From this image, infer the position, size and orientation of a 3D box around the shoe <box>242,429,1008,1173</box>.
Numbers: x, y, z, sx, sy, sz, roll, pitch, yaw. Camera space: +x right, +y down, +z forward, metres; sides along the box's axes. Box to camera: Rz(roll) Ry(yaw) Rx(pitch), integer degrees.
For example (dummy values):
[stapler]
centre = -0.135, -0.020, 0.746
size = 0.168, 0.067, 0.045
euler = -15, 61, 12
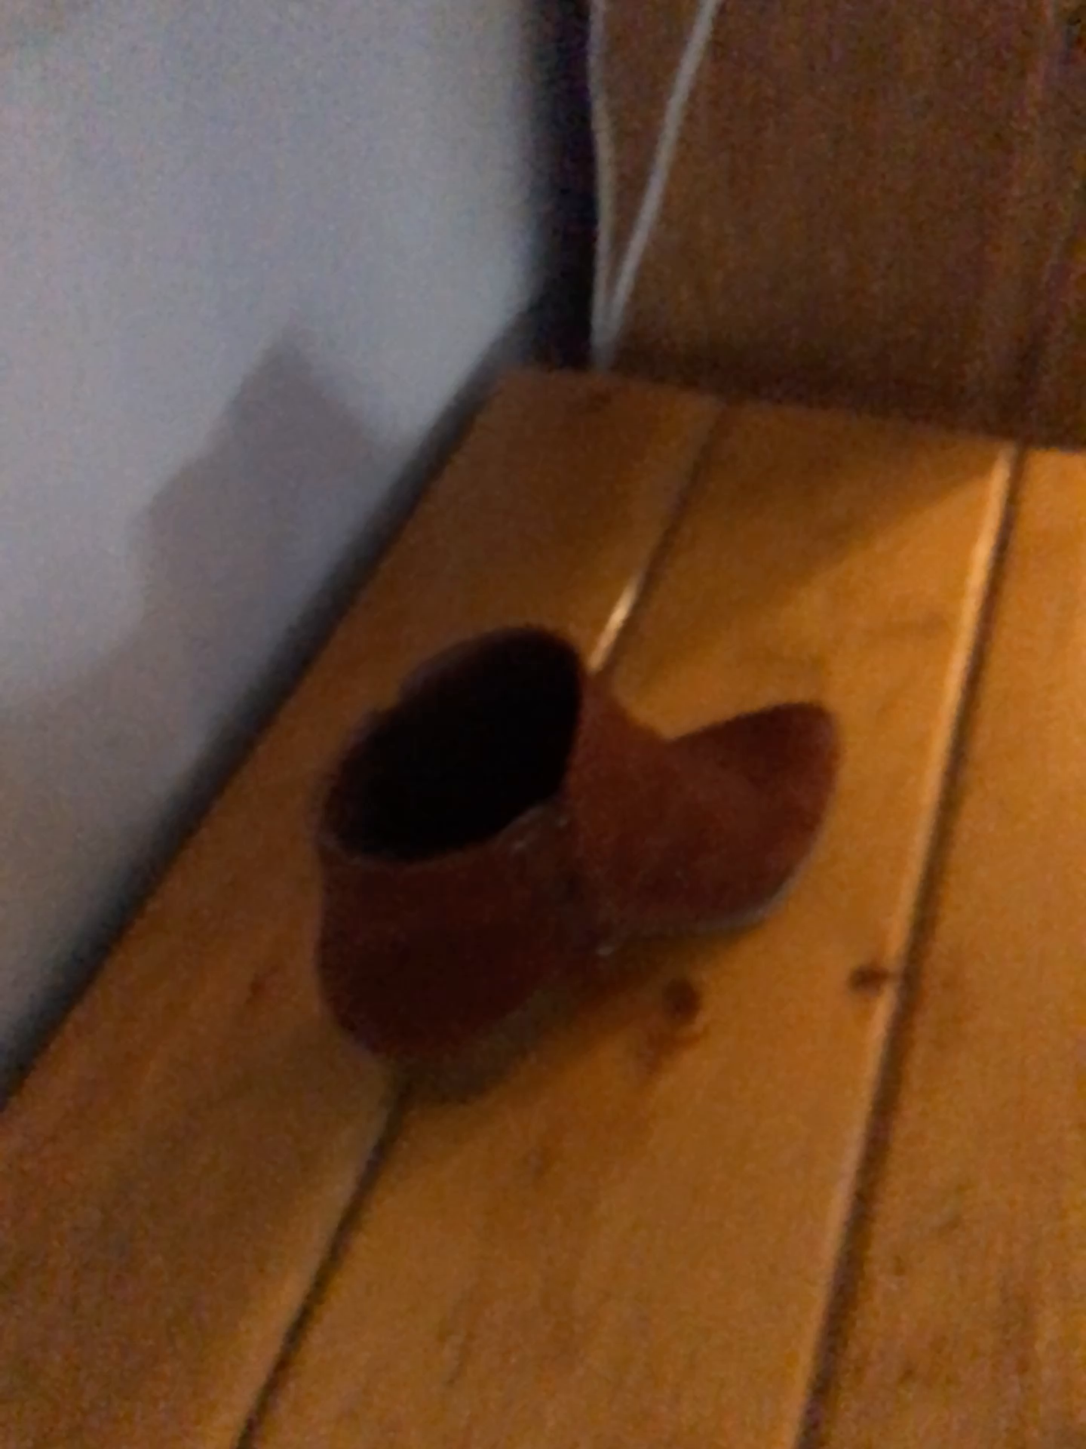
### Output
[shoe]
centre = 0.038, 0.023, 0.453
size = 0.250, 0.150, 0.090
euler = -32, 54, -22
